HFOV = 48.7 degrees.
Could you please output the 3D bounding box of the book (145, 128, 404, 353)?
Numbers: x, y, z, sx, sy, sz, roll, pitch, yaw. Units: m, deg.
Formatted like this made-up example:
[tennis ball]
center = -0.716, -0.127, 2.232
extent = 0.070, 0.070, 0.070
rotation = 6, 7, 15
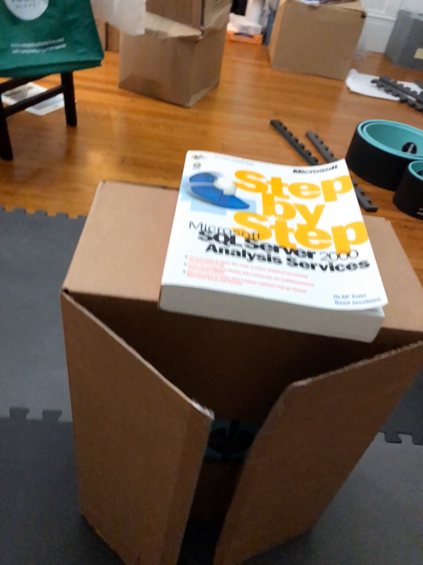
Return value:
[book]
center = 0.052, -0.056, 0.462
extent = 0.200, 0.050, 0.242
rotation = 10, 42, -7
